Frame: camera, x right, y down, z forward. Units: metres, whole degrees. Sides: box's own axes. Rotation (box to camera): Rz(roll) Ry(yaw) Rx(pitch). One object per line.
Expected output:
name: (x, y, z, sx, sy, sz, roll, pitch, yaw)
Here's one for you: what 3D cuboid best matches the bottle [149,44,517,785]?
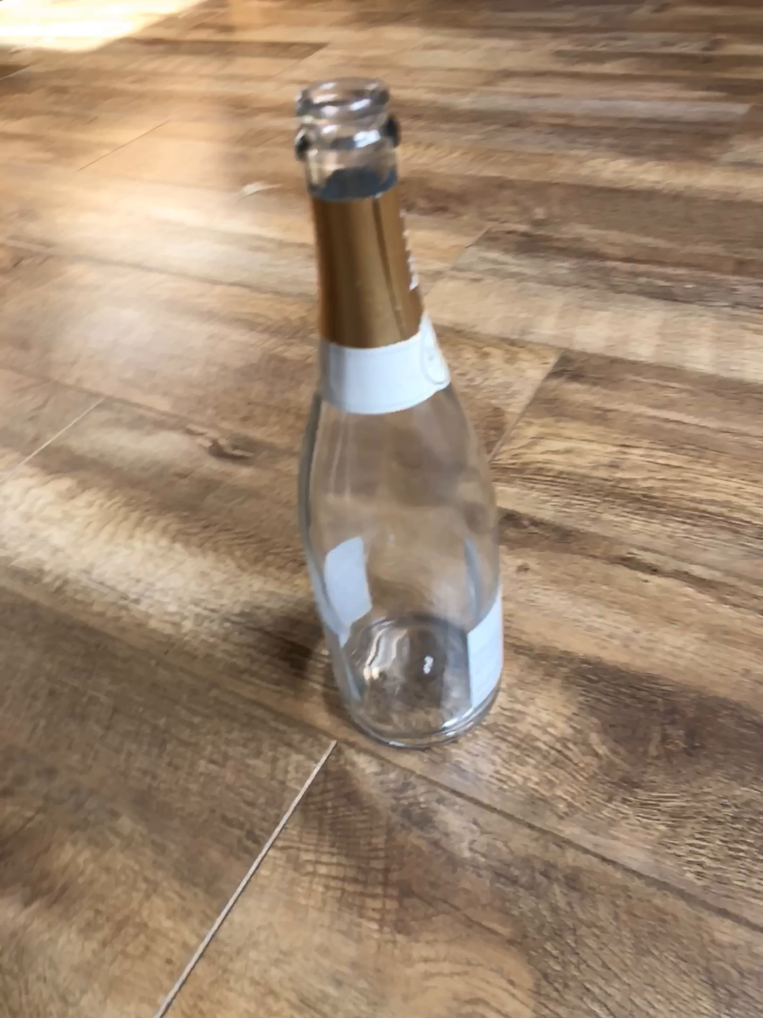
bottle: (0.006, -0.007, 0.340, 0.090, 0.298, 0.091, -5, 42, 5)
